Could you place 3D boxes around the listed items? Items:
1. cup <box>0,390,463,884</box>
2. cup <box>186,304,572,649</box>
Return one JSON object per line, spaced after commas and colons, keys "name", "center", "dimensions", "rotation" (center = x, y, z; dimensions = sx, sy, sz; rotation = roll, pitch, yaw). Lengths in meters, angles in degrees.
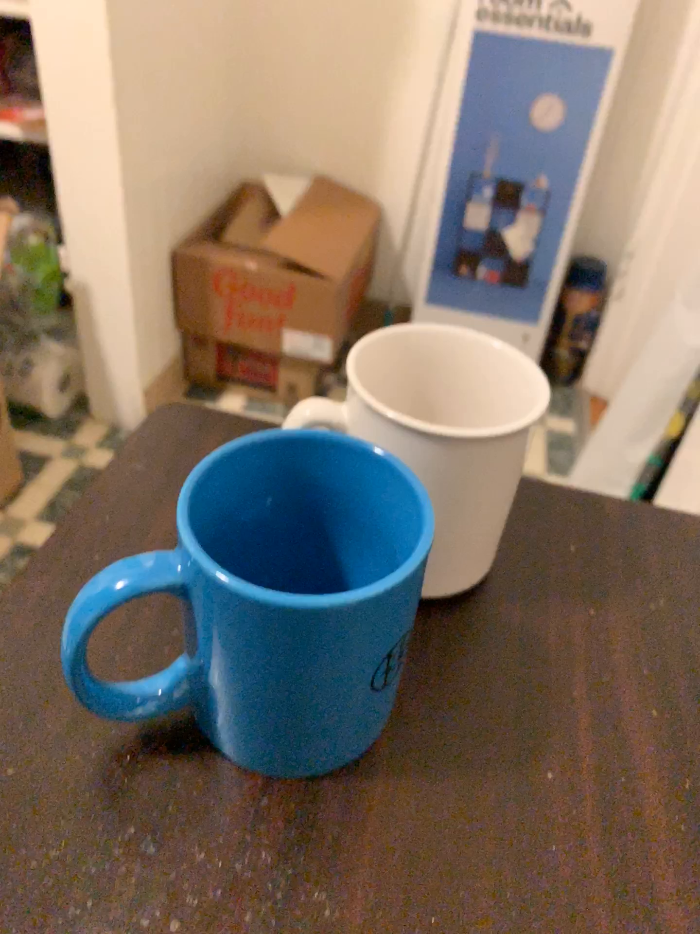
{"name": "cup", "center": [-0.054, 0.049, 0.244], "dimensions": [0.140, 0.099, 0.091], "rotation": [-9, 42, -19]}
{"name": "cup", "center": [0.003, -0.001, 0.320], "dimensions": [0.130, 0.099, 0.091], "rotation": [-8, 41, -17]}
